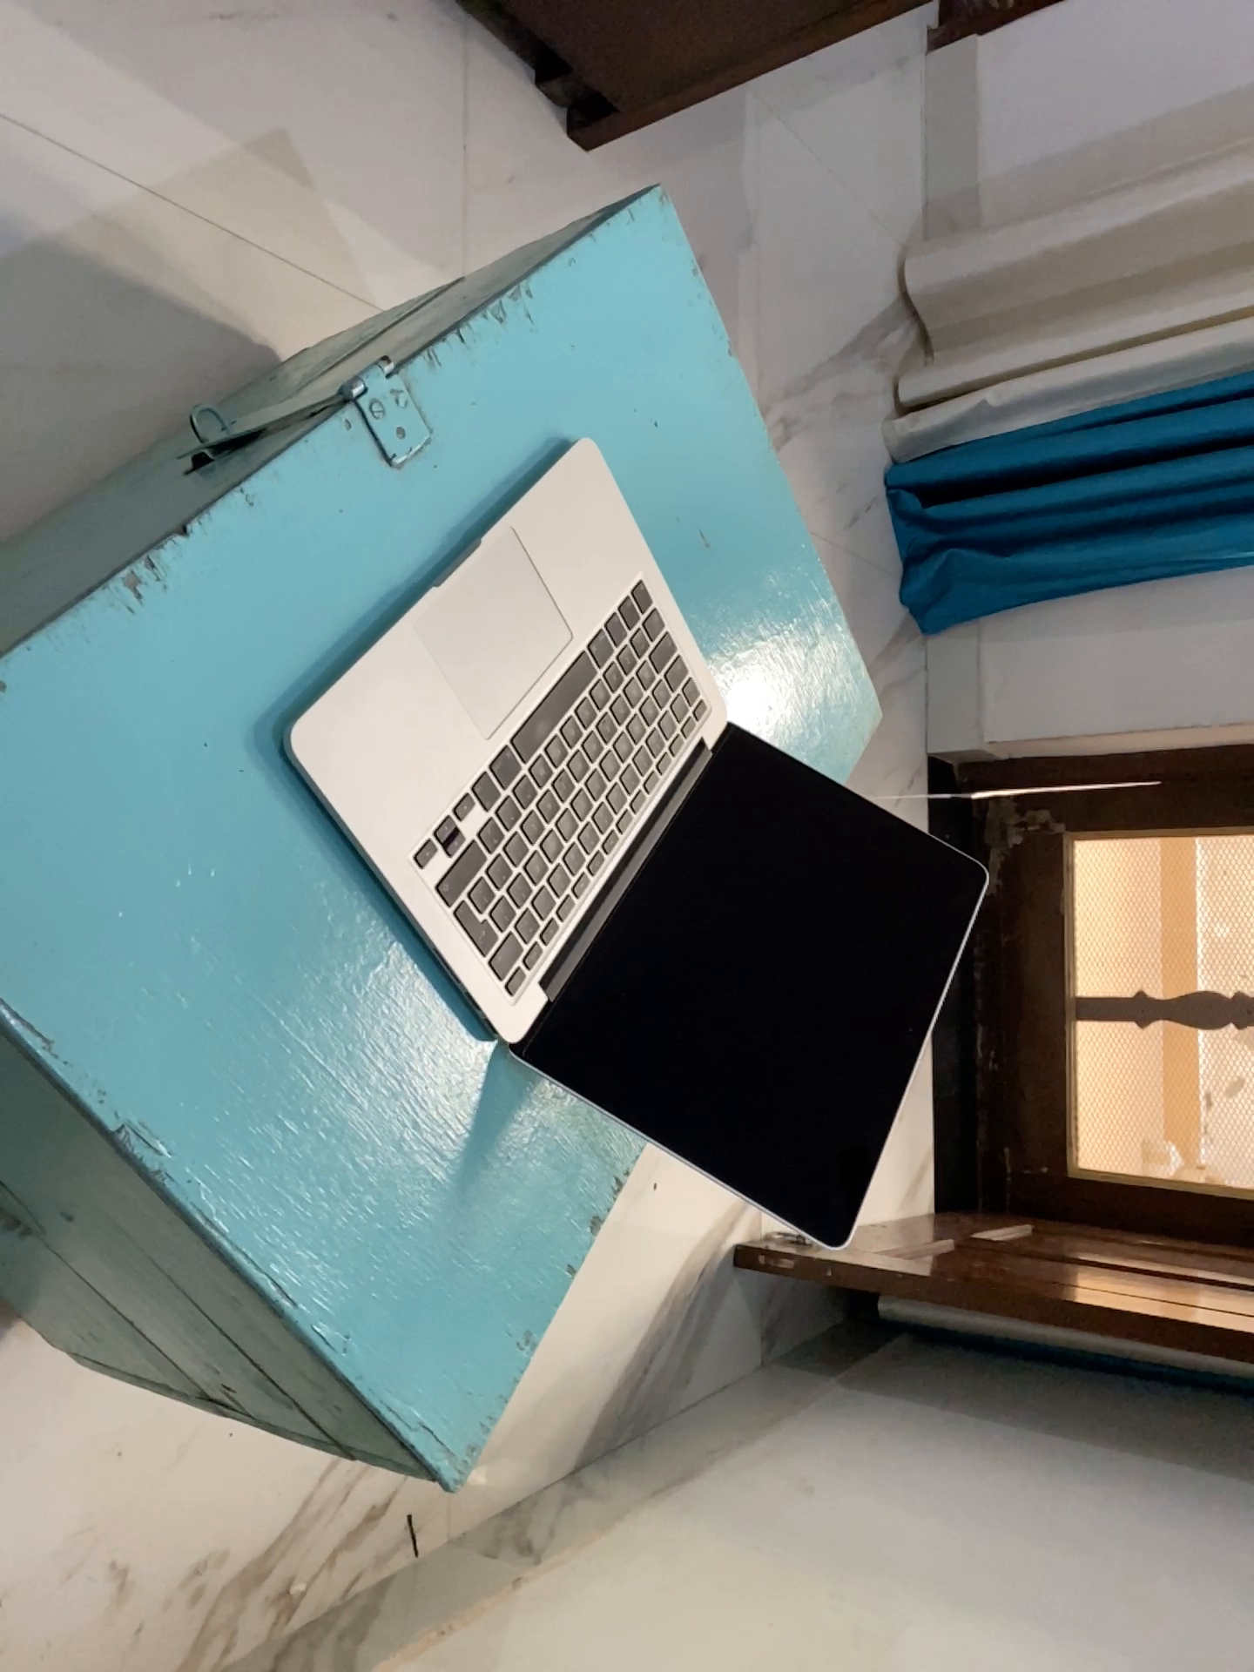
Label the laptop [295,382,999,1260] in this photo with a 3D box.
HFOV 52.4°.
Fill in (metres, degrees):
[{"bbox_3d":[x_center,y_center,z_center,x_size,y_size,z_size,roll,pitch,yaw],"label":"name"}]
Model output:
[{"bbox_3d":[0.052,-0.008,0.752,0.378,0.148,0.314,60,44,-30],"label":"laptop"}]
